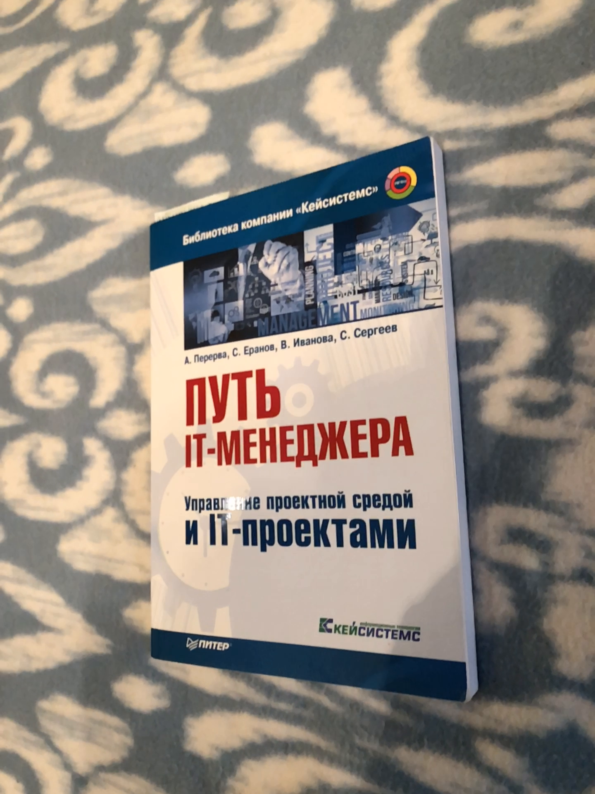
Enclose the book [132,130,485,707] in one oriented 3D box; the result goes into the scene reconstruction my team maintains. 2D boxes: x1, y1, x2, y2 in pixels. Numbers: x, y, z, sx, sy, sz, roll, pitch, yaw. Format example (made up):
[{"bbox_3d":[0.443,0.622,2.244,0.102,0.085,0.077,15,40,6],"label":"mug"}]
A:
[{"bbox_3d":[-0.008,0.011,0.313,0.173,0.019,0.228,-6,81,31],"label":"book"}]
